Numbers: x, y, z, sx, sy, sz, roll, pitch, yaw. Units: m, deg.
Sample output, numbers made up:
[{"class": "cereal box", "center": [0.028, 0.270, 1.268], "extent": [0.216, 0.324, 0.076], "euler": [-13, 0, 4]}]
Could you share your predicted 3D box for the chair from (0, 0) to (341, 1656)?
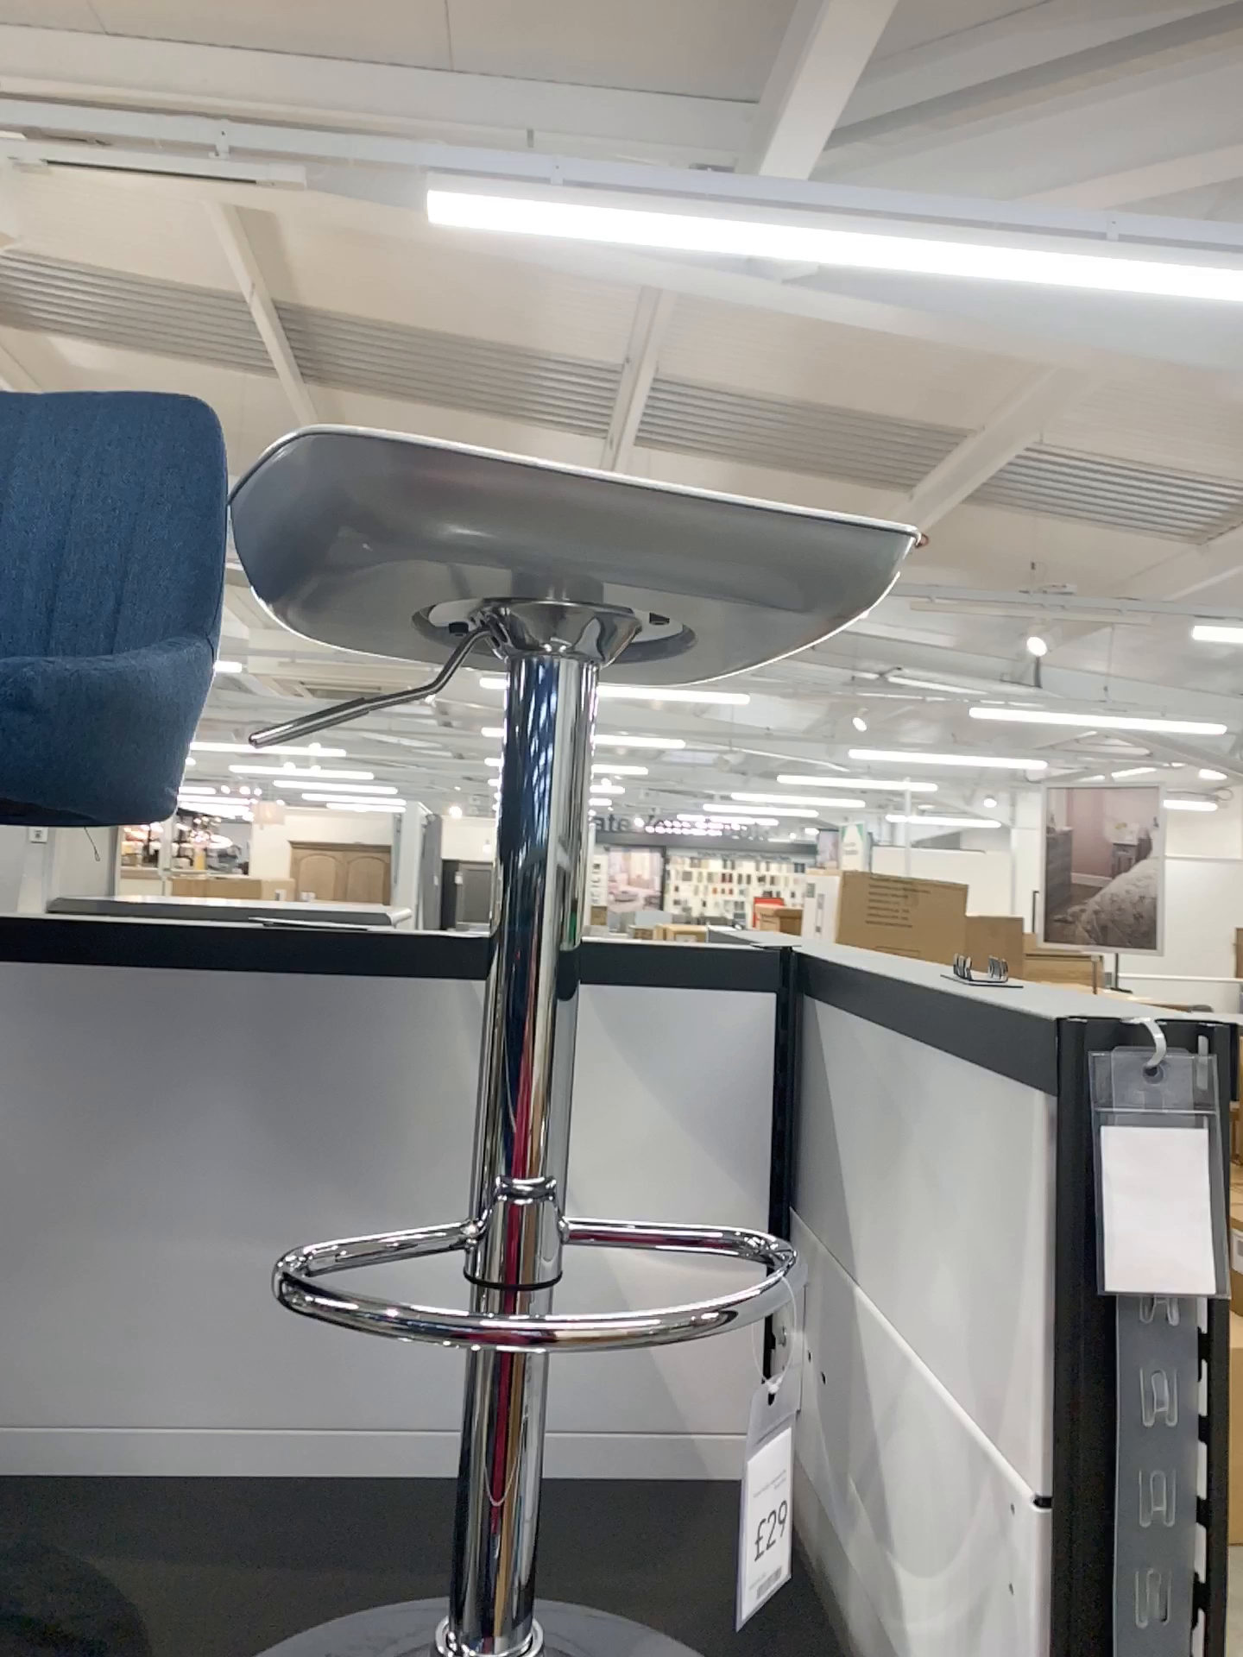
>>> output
[{"class": "chair", "center": [-0.473, 0.055, 0.737], "extent": [0.532, 0.884, 0.482], "euler": [4, -4, -10]}]

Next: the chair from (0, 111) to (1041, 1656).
[{"class": "chair", "center": [-0.063, 0.128, 0.733], "extent": [0.402, 0.804, 0.402], "euler": [4, -4, -15]}]
